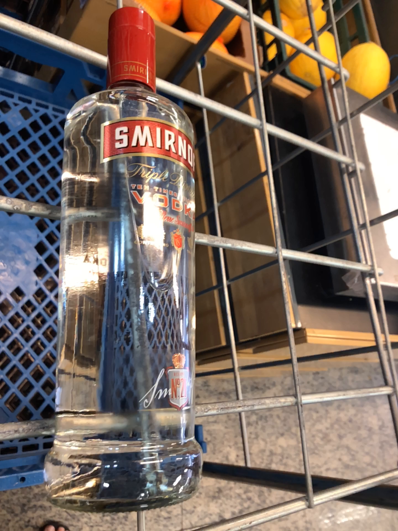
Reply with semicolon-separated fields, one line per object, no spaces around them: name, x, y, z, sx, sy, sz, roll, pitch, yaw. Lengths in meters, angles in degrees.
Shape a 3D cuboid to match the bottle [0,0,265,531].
bottle;-0.041;-0.034;0.270;0.100;0.099;0.310;11;70;-36
